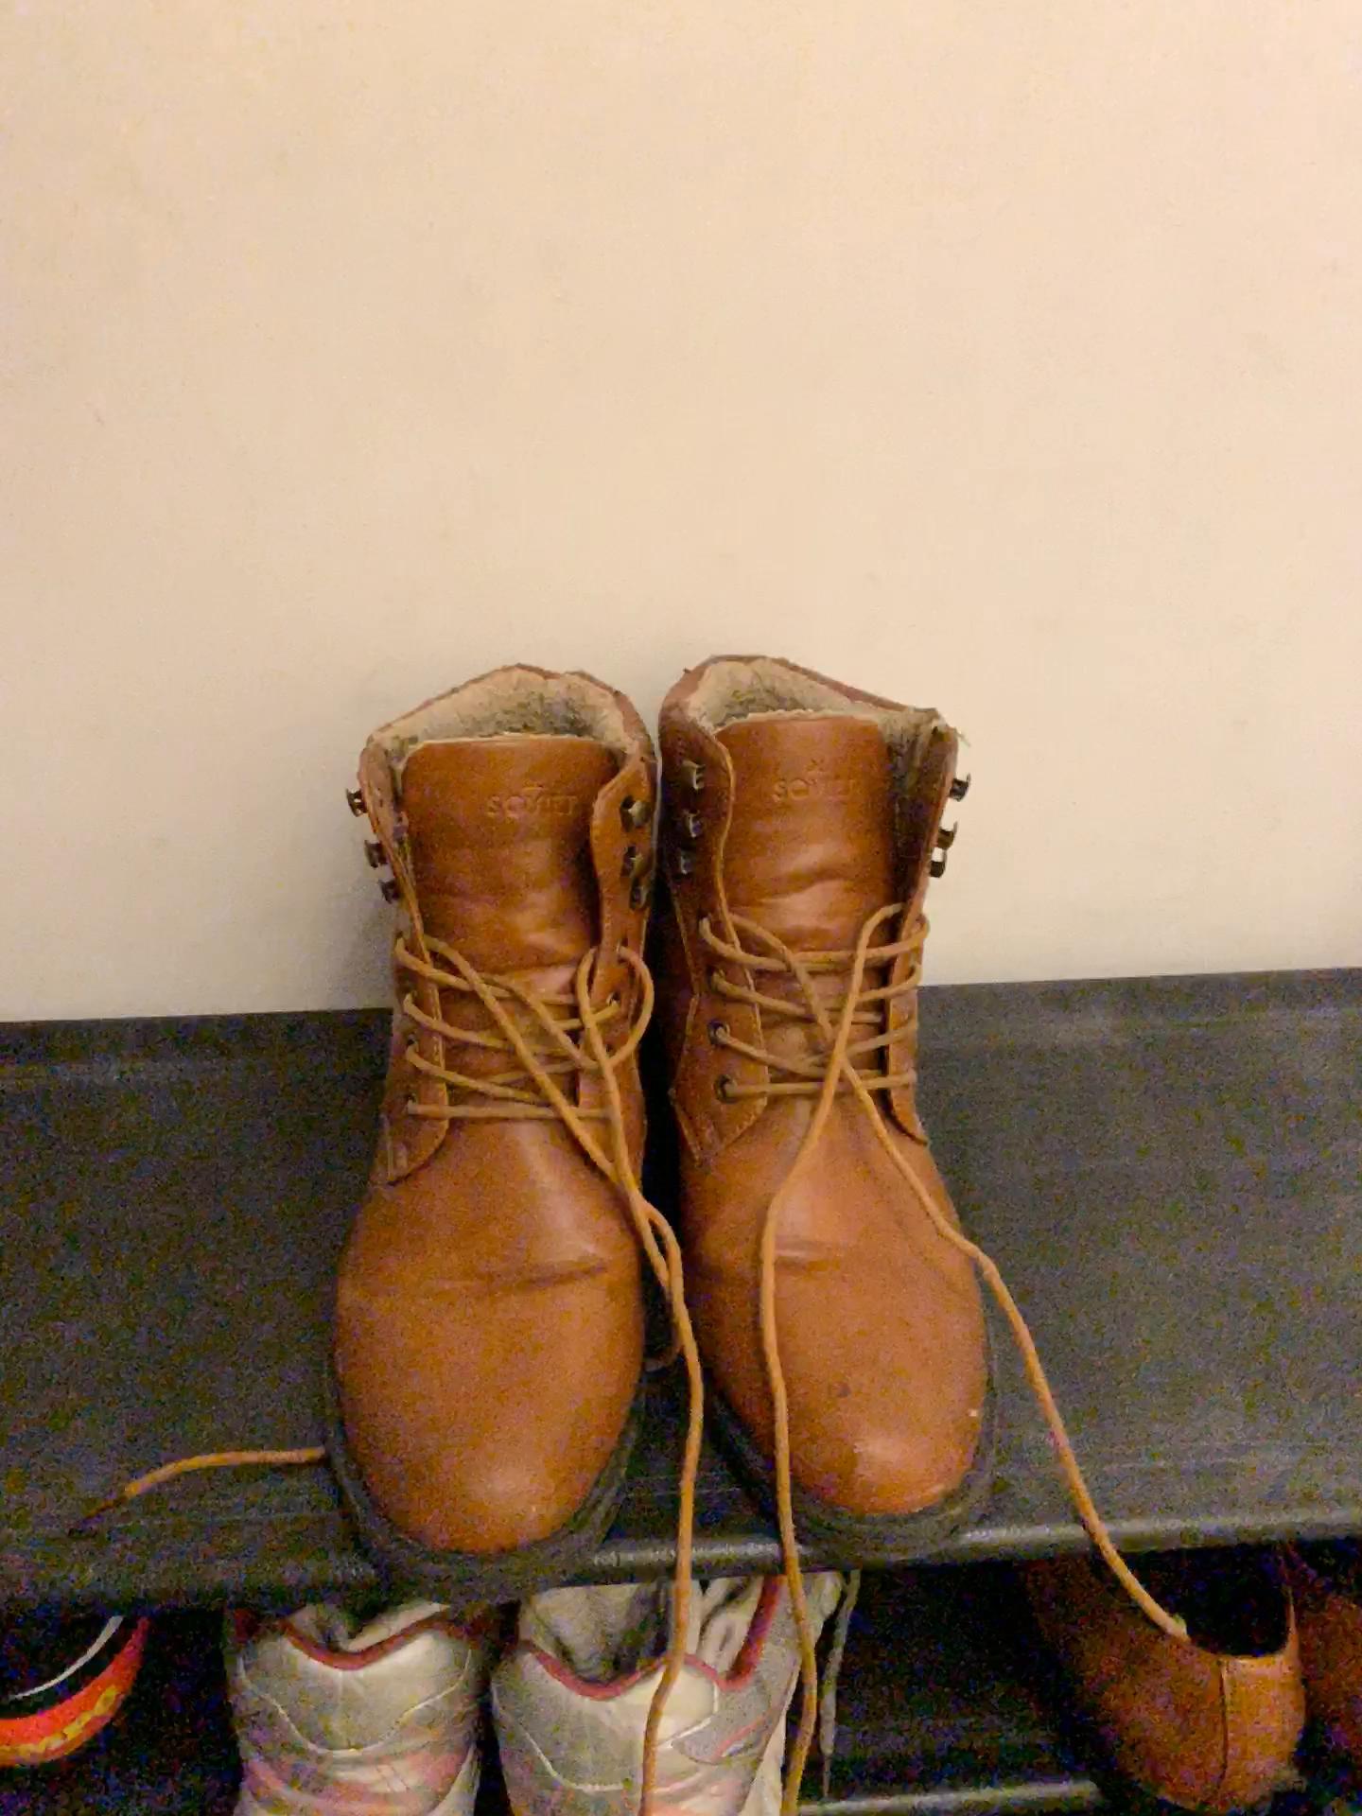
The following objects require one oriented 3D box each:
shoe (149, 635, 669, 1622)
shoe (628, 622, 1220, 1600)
[{"bbox_3d":[-0.062,0.054,0.476,0.110,0.198,0.273,0,33,0],"label":"shoe"},{"bbox_3d":[0.051,0.048,0.459,0.110,0.198,0.242,-4,33,-6],"label":"shoe"}]
